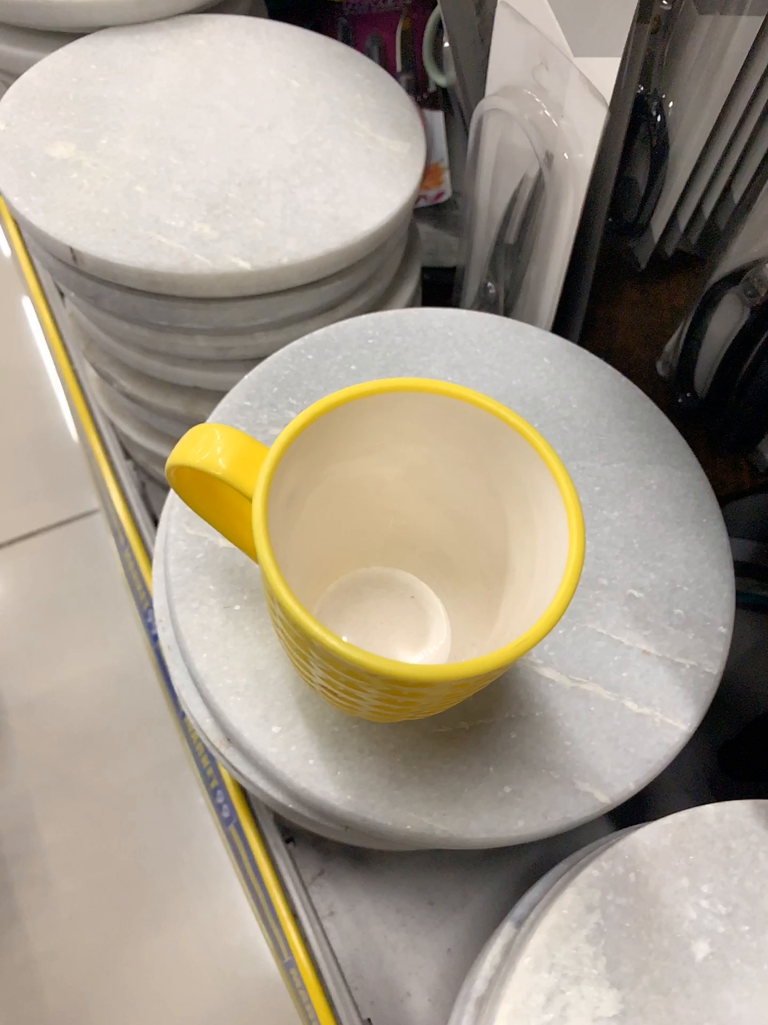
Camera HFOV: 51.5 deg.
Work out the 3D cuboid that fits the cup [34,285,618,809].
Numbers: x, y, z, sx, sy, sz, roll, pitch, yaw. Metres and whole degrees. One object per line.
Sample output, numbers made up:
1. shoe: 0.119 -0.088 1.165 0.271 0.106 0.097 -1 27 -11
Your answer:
1. cup: -0.012 0.014 0.236 0.120 0.090 0.090 19 60 5
